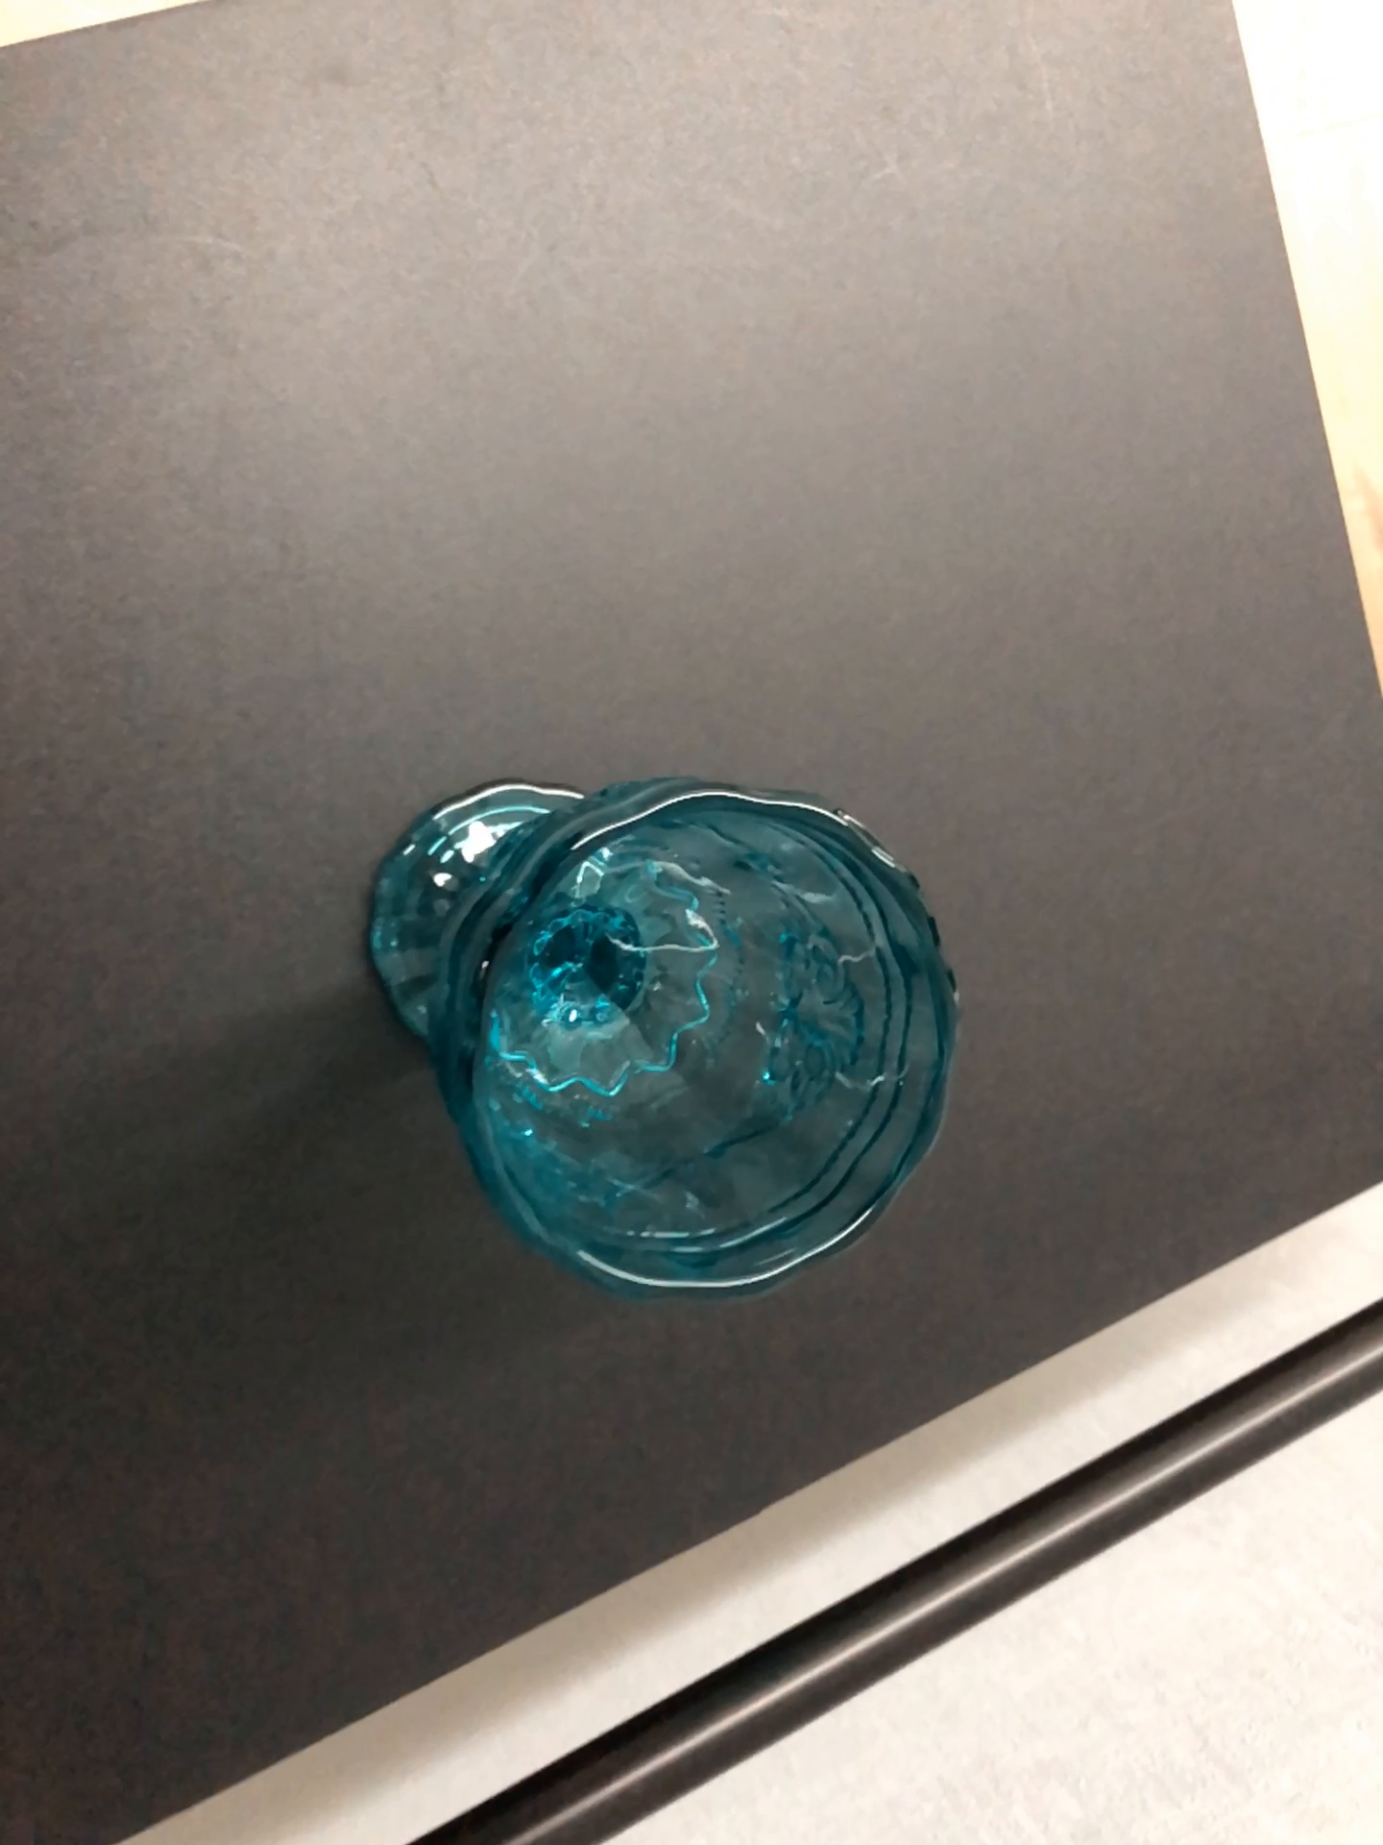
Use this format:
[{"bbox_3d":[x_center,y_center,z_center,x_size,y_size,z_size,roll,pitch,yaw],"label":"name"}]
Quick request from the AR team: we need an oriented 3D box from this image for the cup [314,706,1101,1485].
[{"bbox_3d":[-0.011,0.015,0.310,0.085,0.165,0.095,-20,103,-15],"label":"cup"}]
